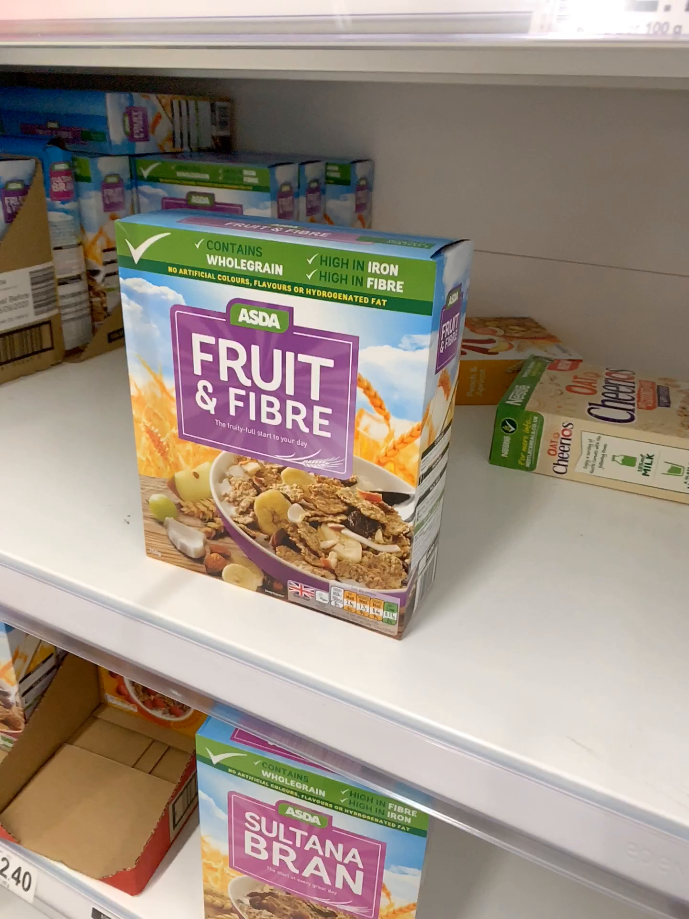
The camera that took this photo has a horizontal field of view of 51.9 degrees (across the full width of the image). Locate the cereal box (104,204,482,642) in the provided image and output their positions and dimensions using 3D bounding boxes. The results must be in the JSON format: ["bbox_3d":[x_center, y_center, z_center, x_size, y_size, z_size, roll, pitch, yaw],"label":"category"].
[{"bbox_3d":[-0.040,-0.033,0.506,0.230,0.258,0.081,14,28,22],"label":"cereal box"}]
